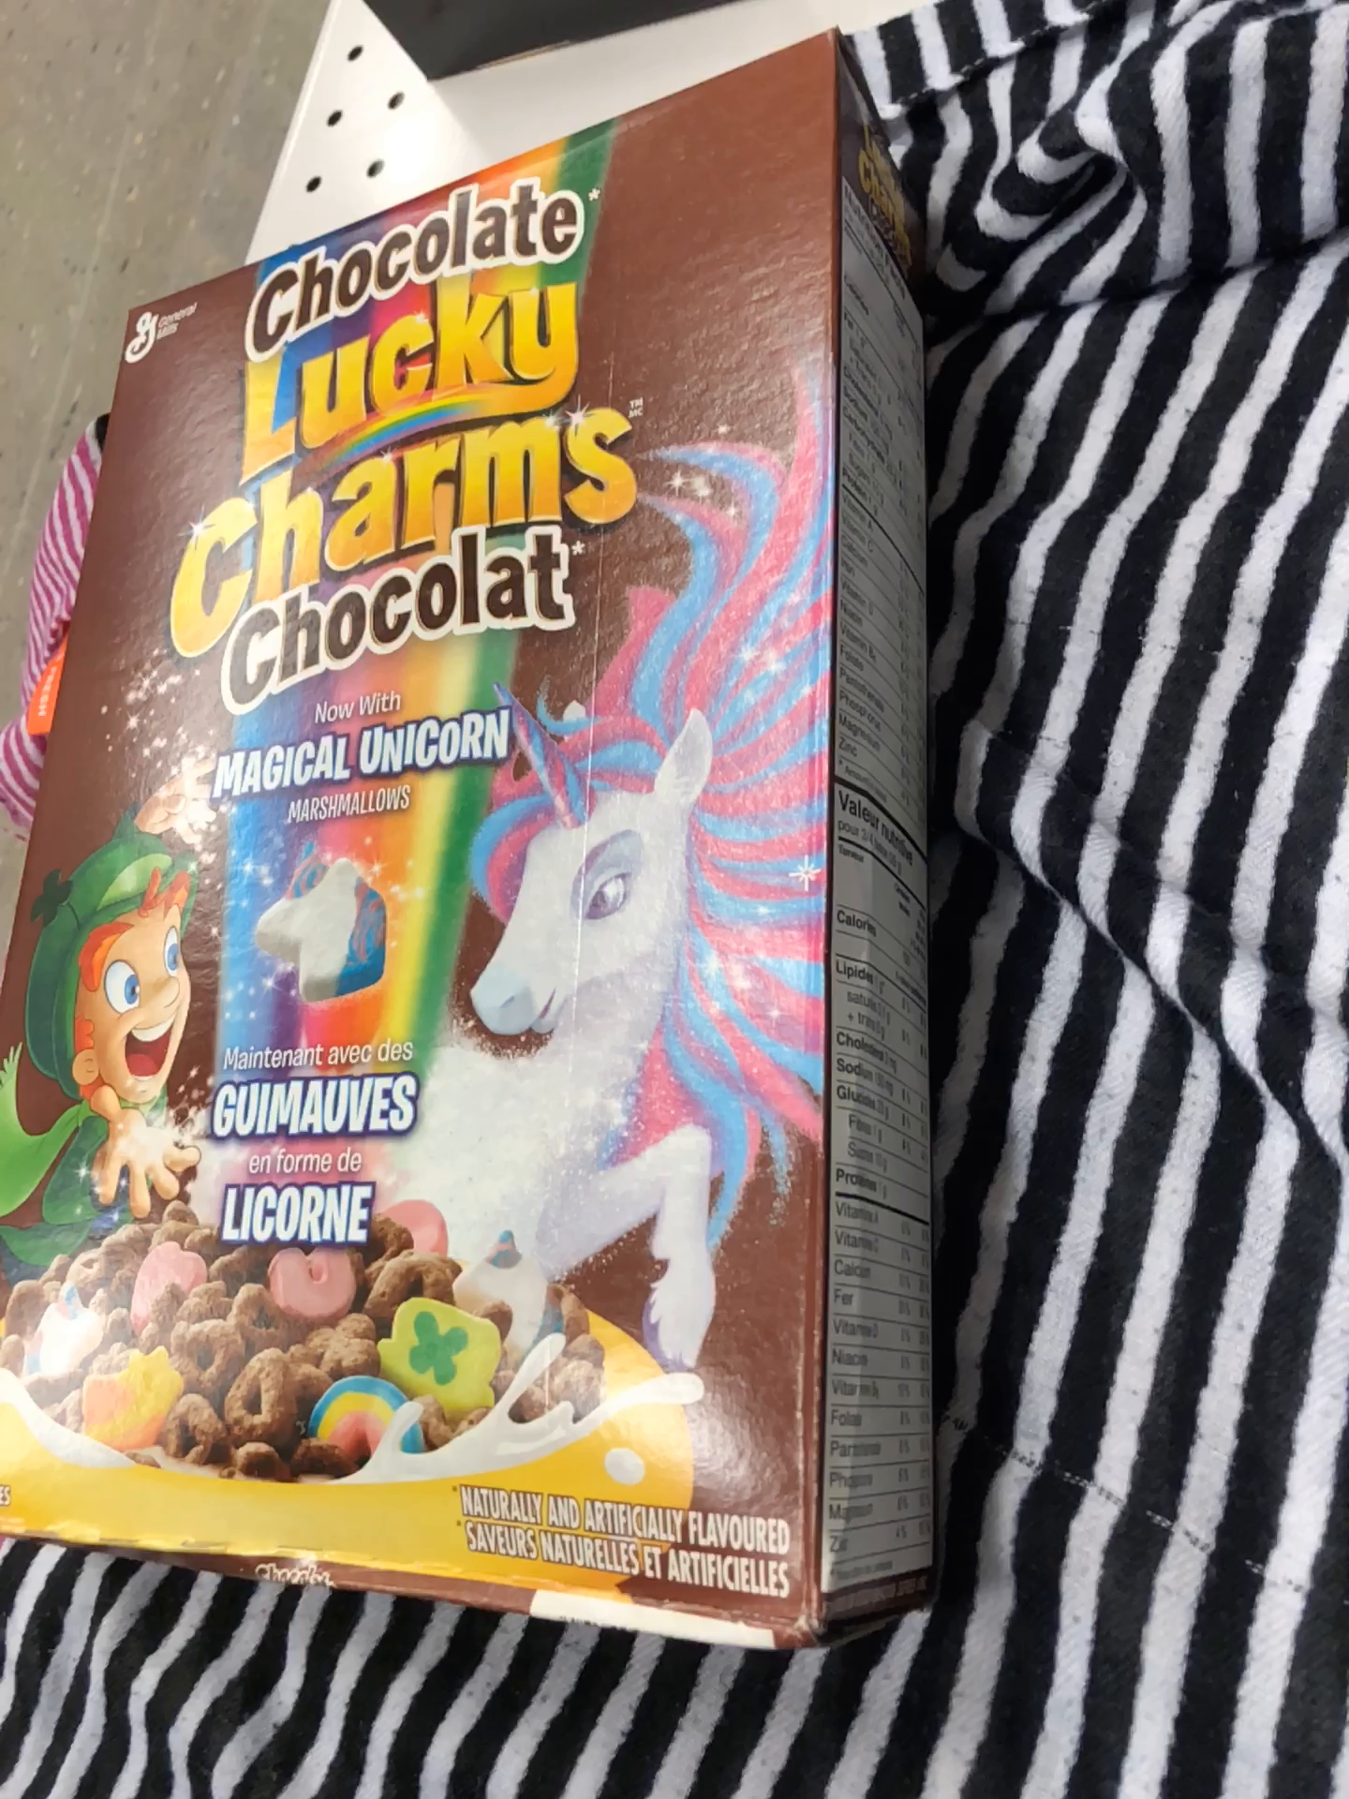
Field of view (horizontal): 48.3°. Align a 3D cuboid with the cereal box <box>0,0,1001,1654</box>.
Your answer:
[{"bbox_3d":[-0.051,-0.024,0.306,0.211,0.060,0.290,-7,72,28],"label":"cereal box"}]
